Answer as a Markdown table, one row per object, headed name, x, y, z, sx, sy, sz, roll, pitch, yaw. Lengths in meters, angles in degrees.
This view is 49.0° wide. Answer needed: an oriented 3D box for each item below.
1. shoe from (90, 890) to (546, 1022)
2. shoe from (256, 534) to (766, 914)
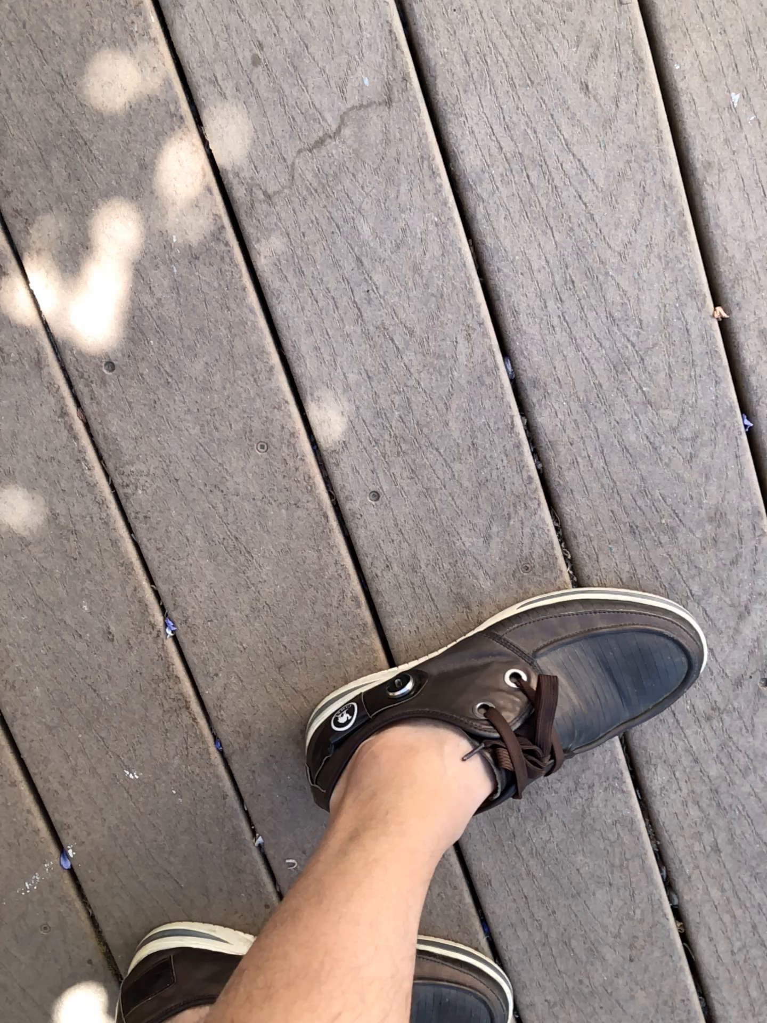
| name | x | y | z | sx | sy | sz | roll | pitch | yaw |
| --- | --- | --- | --- | --- | --- | --- | --- | --- | --- |
| shoe | -0.043 | 0.352 | 0.576 | 0.276 | 0.090 | 0.104 | 9 | 101 | -3 |
| shoe | 0.075 | 0.129 | 0.535 | 0.283 | 0.096 | 0.104 | -24 | 101 | 4 |
